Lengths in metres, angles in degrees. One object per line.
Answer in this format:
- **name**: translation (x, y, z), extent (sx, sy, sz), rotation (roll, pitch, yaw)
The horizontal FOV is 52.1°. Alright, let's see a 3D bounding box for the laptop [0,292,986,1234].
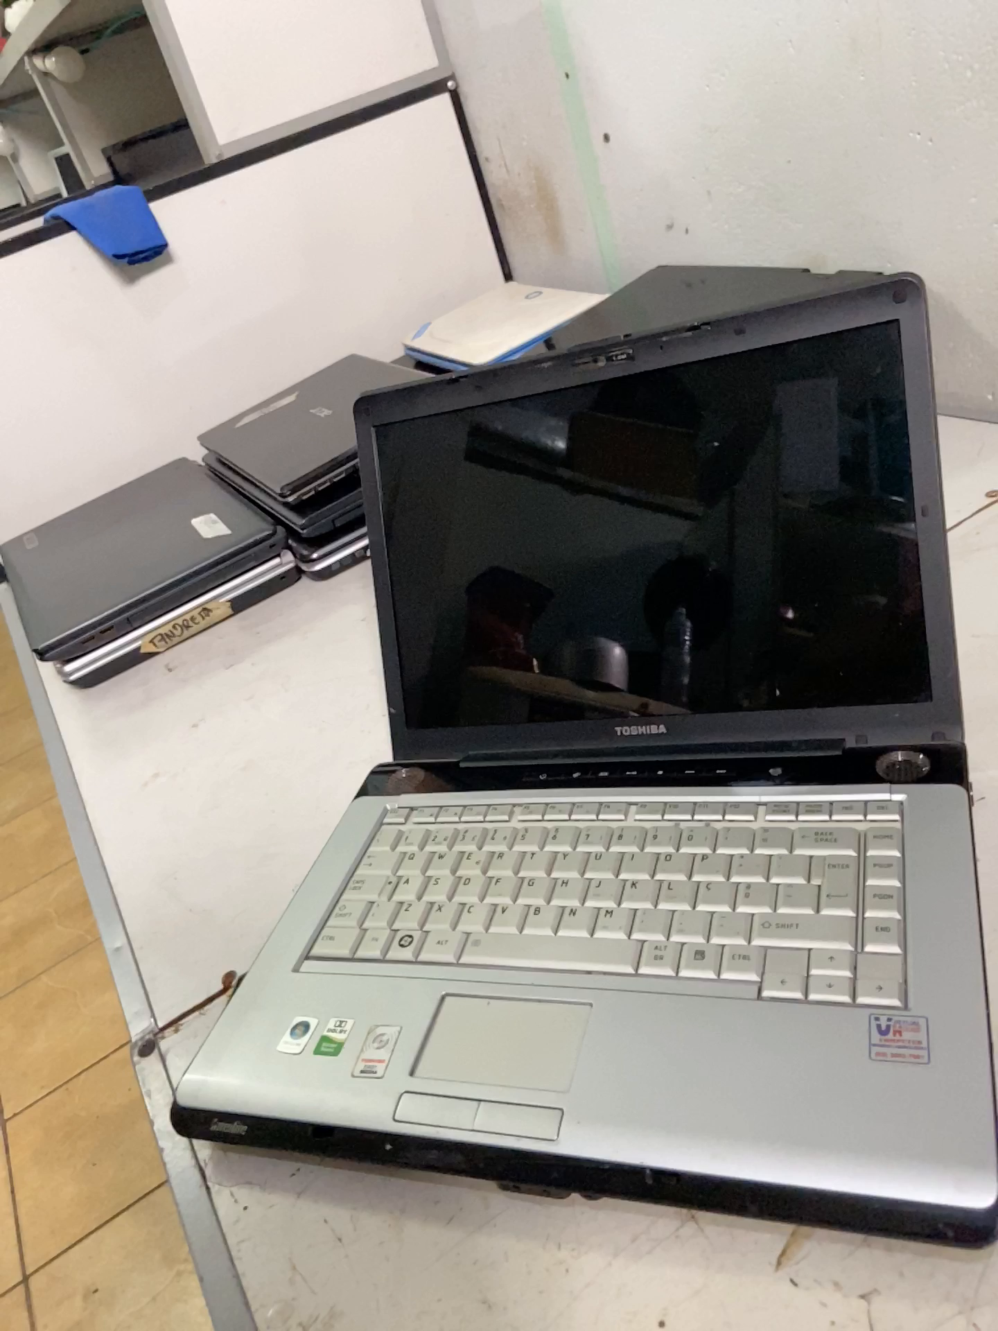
- **laptop**: translation (0.031, 0.008, 0.514), extent (0.350, 0.200, 0.395), rotation (-5, 33, 24)
